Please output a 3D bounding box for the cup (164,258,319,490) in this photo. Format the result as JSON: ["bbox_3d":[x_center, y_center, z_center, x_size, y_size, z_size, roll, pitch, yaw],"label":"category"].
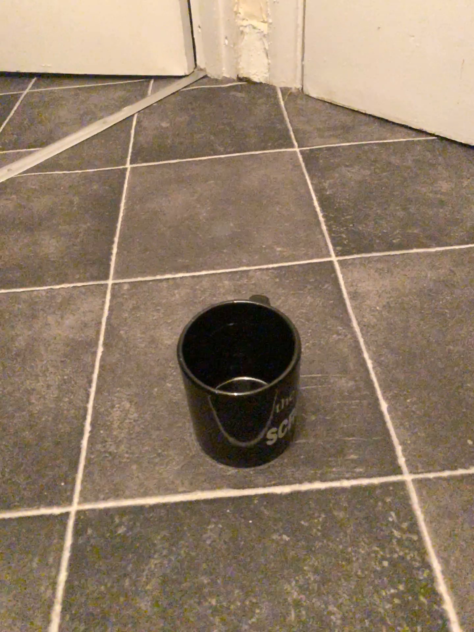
[{"bbox_3d":[0.012,0.042,0.365,0.080,0.114,0.118,7,47,12],"label":"cup"}]
